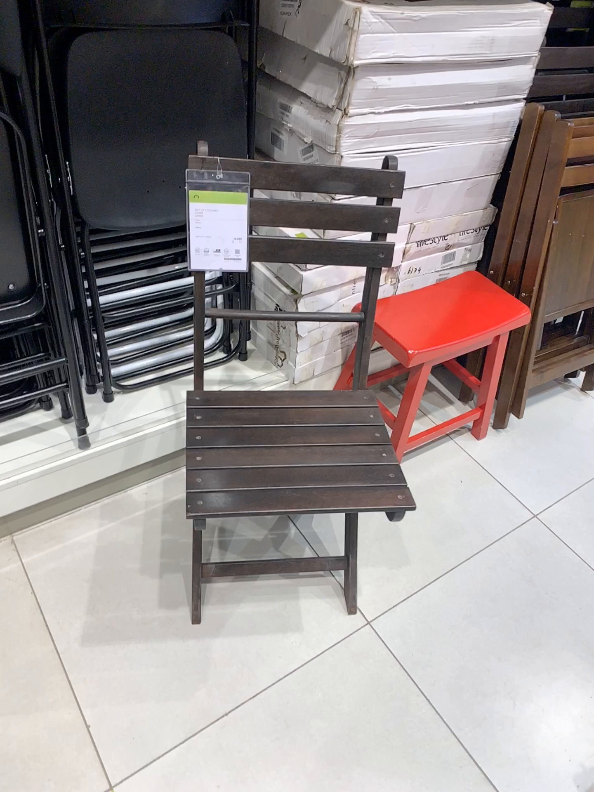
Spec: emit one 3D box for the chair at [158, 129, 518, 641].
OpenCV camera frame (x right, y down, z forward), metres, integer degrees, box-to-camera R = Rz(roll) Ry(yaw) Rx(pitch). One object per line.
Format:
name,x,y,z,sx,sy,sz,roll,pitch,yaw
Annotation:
chair,-0.024,0.018,1.121,0.420,0.797,0.482,1,42,-10
